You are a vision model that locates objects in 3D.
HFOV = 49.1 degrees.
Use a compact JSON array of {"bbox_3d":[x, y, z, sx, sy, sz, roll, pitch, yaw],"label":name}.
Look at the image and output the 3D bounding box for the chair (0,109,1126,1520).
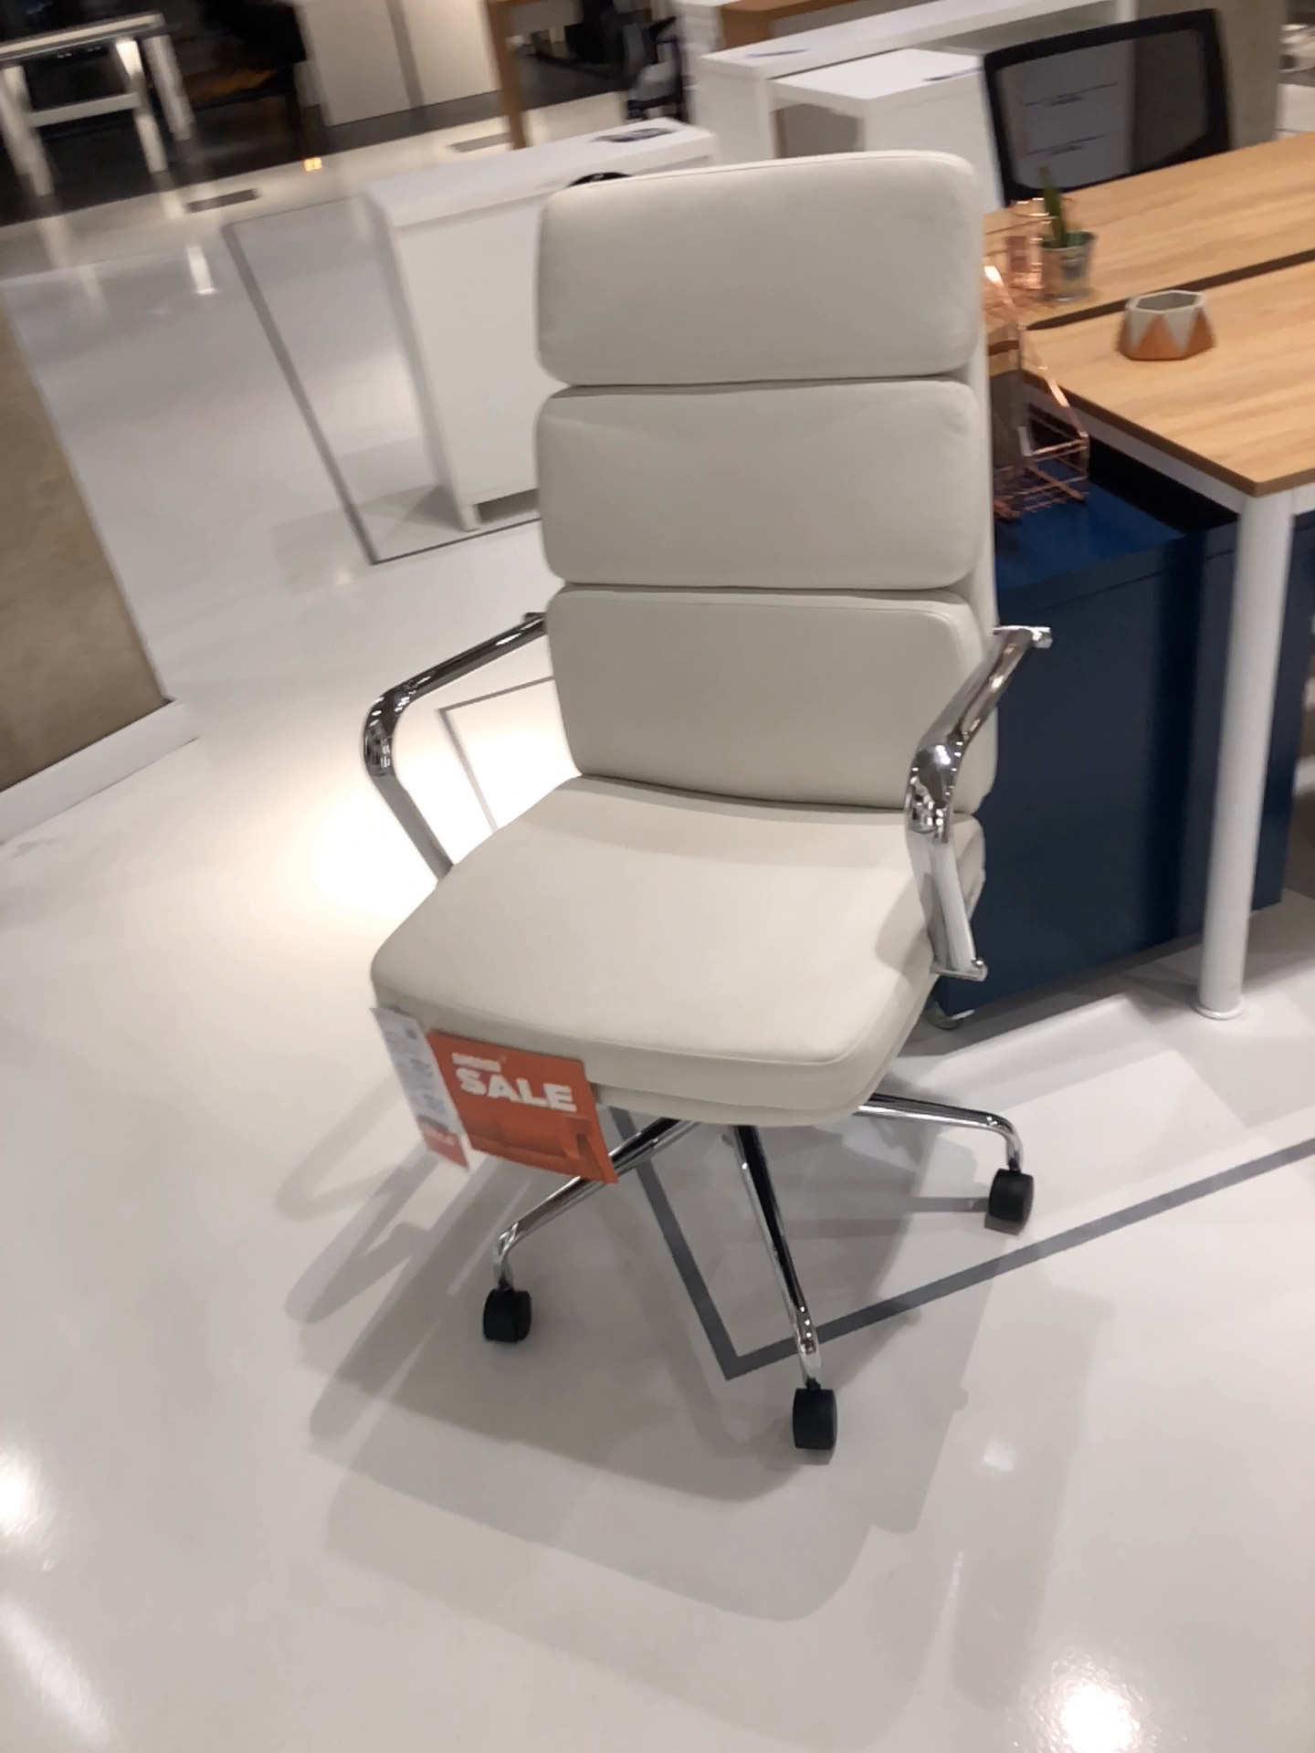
[{"bbox_3d":[0.031,-0.065,1.365,0.661,1.012,0.654,8,39,24],"label":"chair"}]
